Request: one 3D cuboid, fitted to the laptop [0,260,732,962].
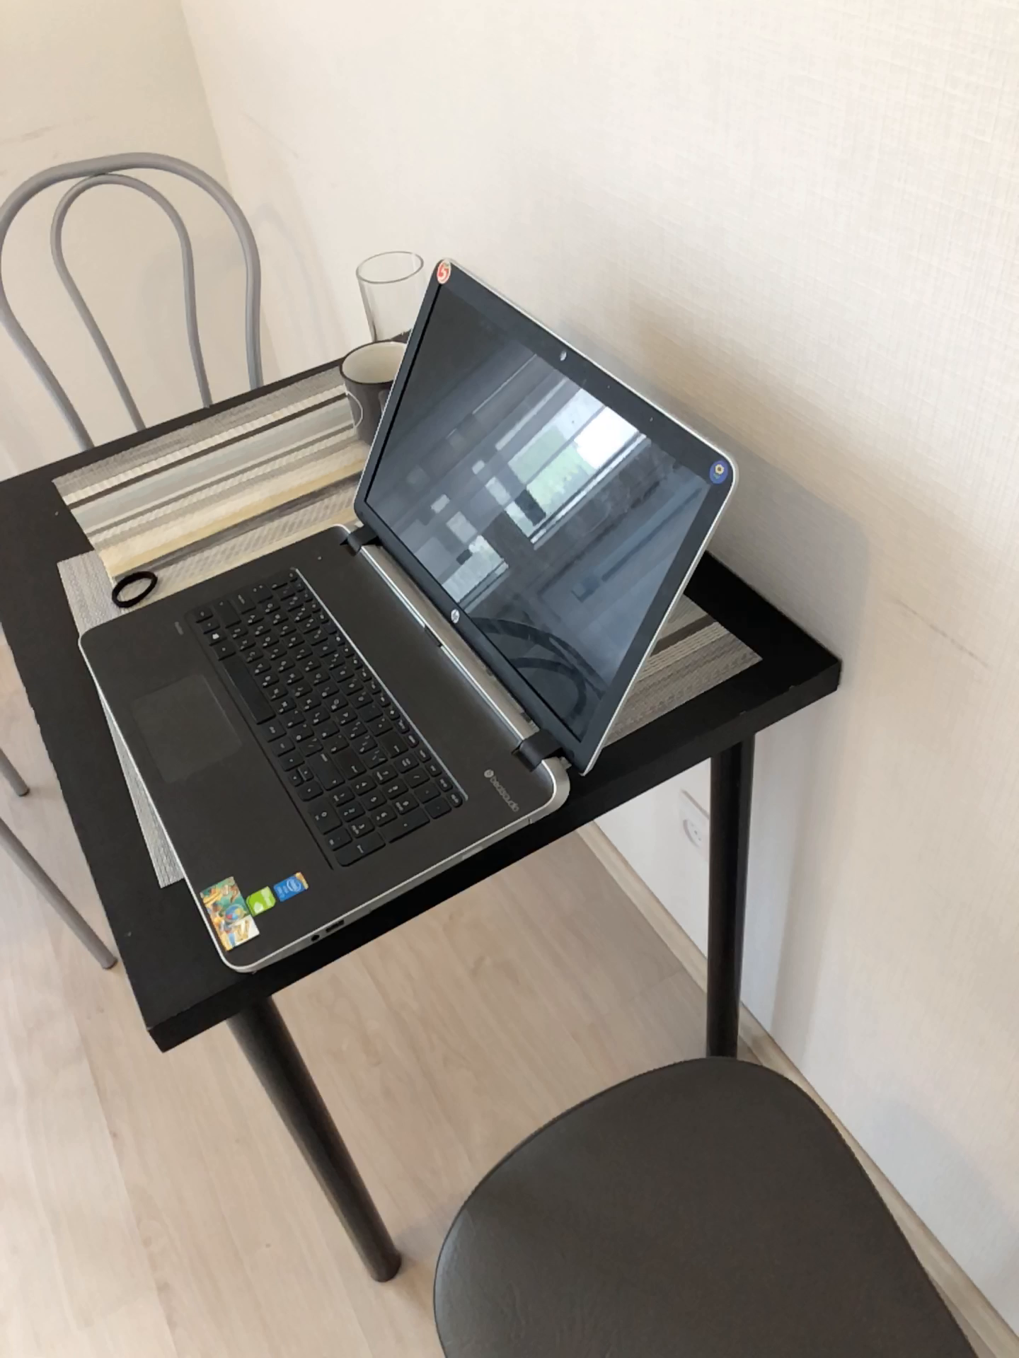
[{"bbox_3d":[-0.123,-0.091,0.887,0.413,0.227,0.417,-25,47,-17],"label":"laptop"}]
